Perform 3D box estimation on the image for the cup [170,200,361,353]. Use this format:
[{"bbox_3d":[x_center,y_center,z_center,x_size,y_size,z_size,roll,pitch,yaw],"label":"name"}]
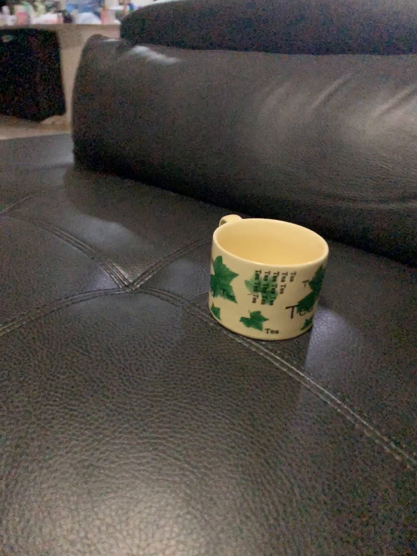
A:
[{"bbox_3d":[0.033,-0.011,0.323,0.090,0.060,0.119,-8,27,-22],"label":"cup"}]
